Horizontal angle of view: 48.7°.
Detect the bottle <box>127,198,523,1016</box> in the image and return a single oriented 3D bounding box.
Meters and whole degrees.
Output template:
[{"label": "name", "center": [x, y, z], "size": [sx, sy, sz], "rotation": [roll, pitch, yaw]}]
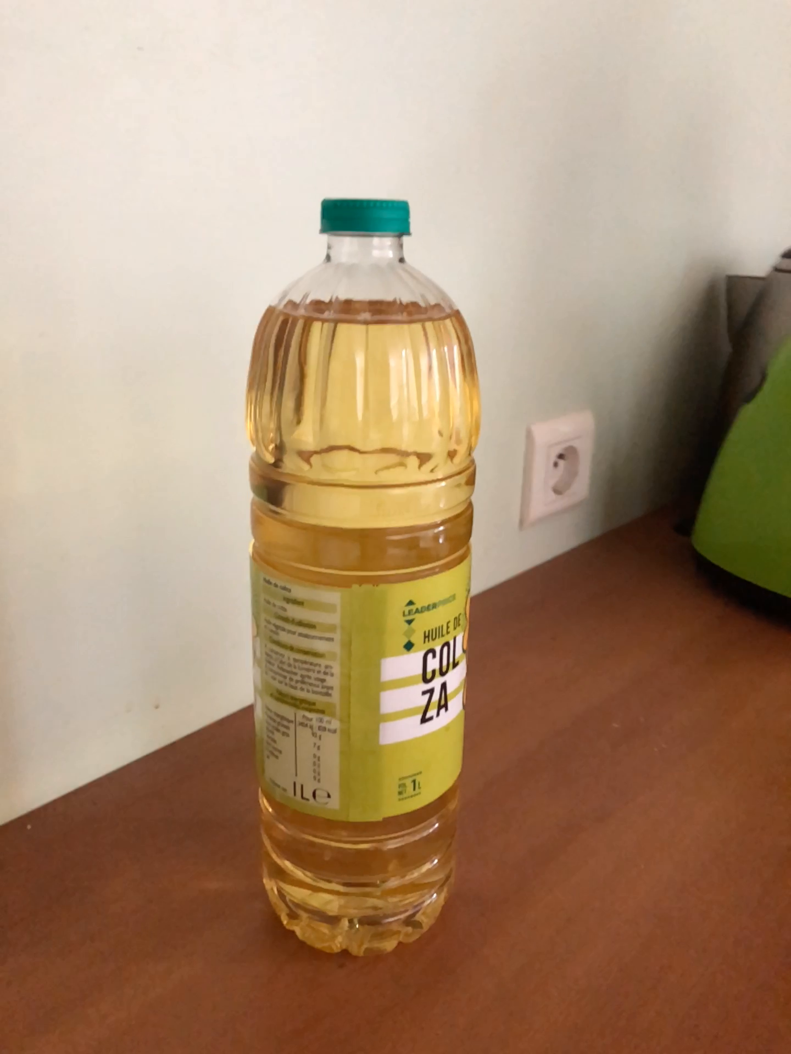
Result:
[{"label": "bottle", "center": [-0.023, 0.024, 0.323], "size": [0.090, 0.269, 0.091], "rotation": [2, 19, -1]}]
